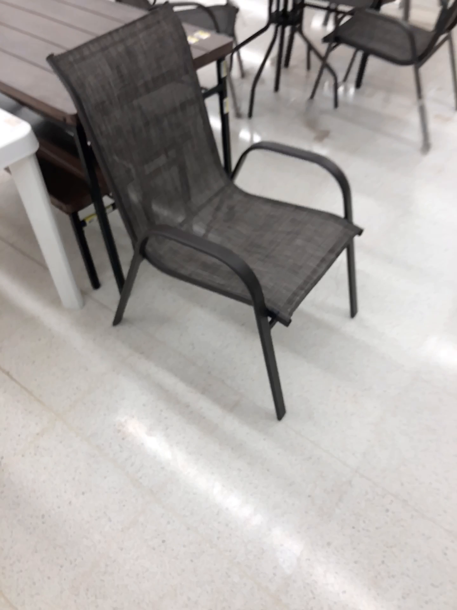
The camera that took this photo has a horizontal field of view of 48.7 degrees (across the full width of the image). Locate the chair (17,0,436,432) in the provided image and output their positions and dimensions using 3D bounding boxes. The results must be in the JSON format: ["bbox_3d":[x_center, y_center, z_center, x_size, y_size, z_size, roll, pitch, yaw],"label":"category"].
[{"bbox_3d":[0.012,-0.261,1.430,0.712,0.854,0.603,27,53,24],"label":"chair"}]
